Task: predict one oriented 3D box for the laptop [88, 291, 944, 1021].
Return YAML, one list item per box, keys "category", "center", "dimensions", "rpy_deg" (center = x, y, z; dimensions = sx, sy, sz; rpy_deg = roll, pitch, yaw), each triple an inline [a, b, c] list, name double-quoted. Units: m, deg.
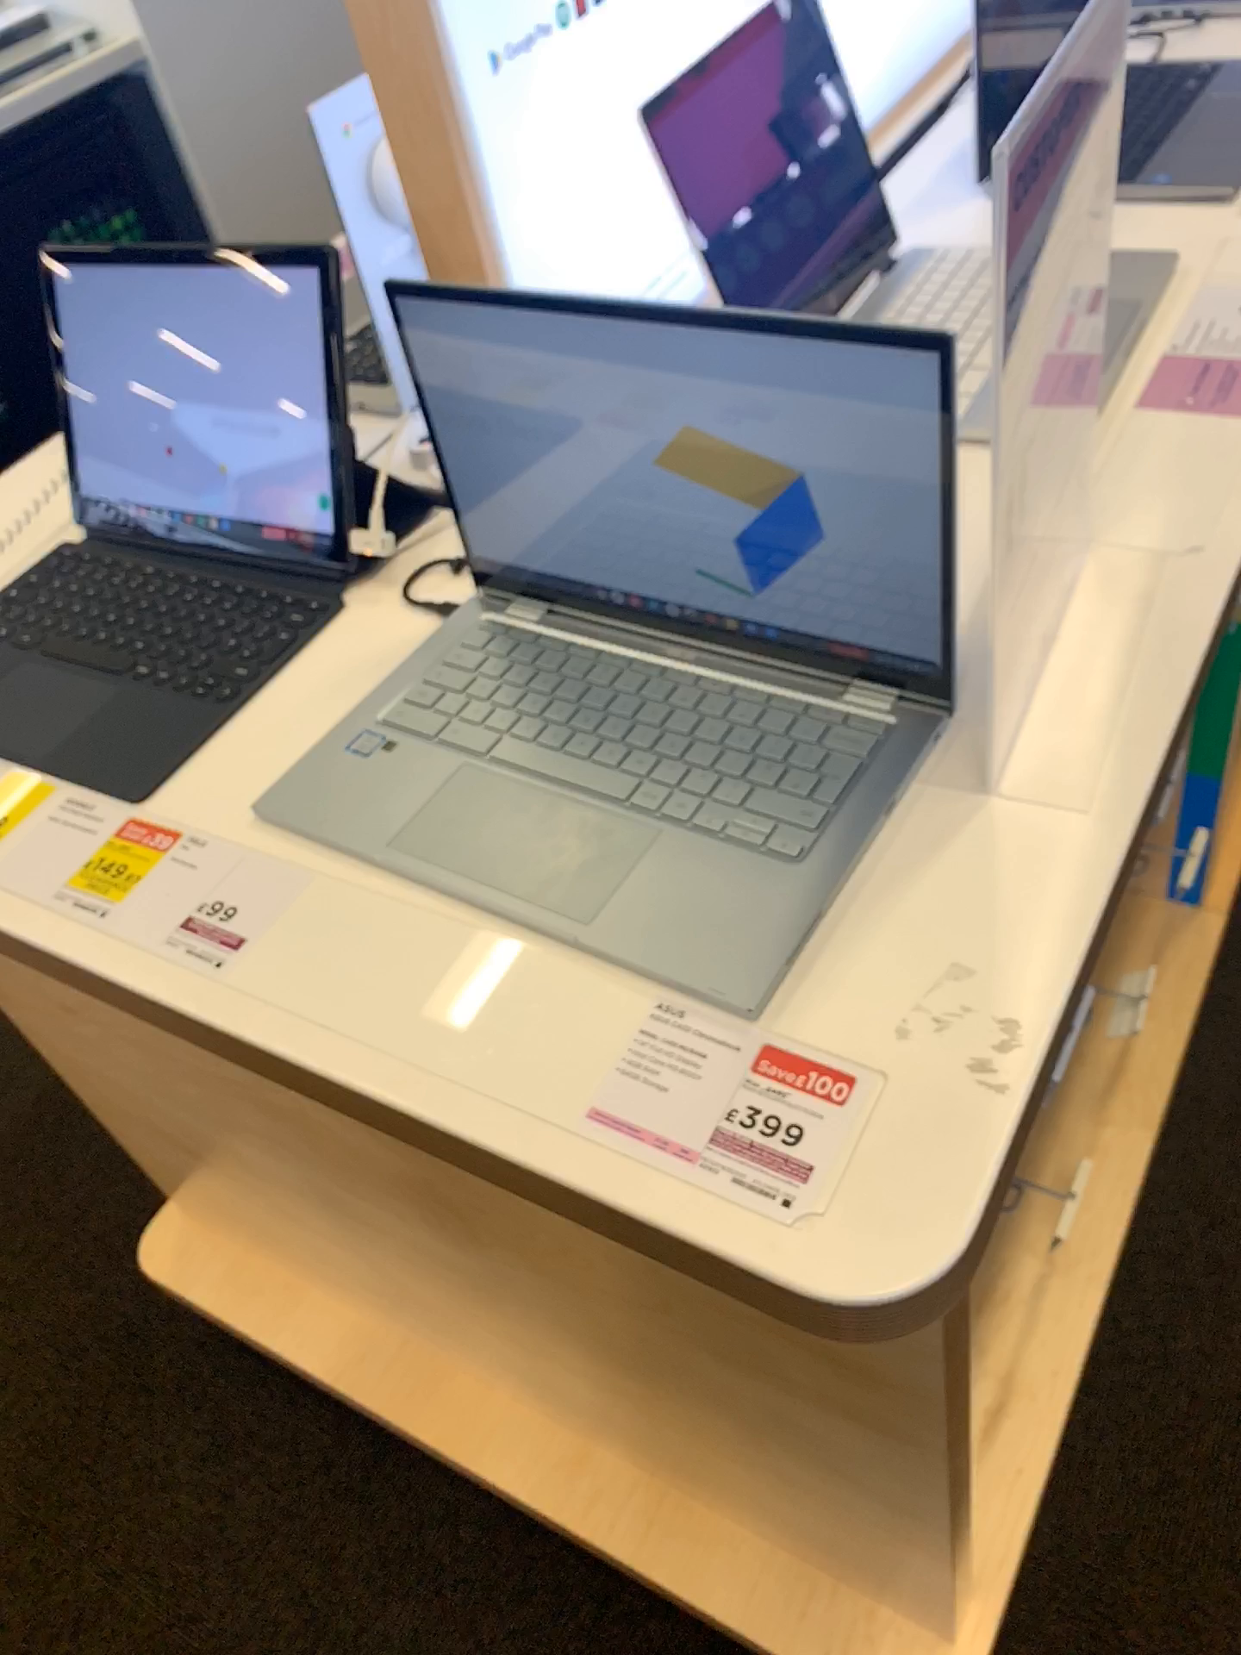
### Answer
- category: "laptop"
  center: [-0.038, -0.101, 0.614]
  dimensions: [0.318, 0.195, 0.204]
  rpy_deg: [19, 54, 31]
